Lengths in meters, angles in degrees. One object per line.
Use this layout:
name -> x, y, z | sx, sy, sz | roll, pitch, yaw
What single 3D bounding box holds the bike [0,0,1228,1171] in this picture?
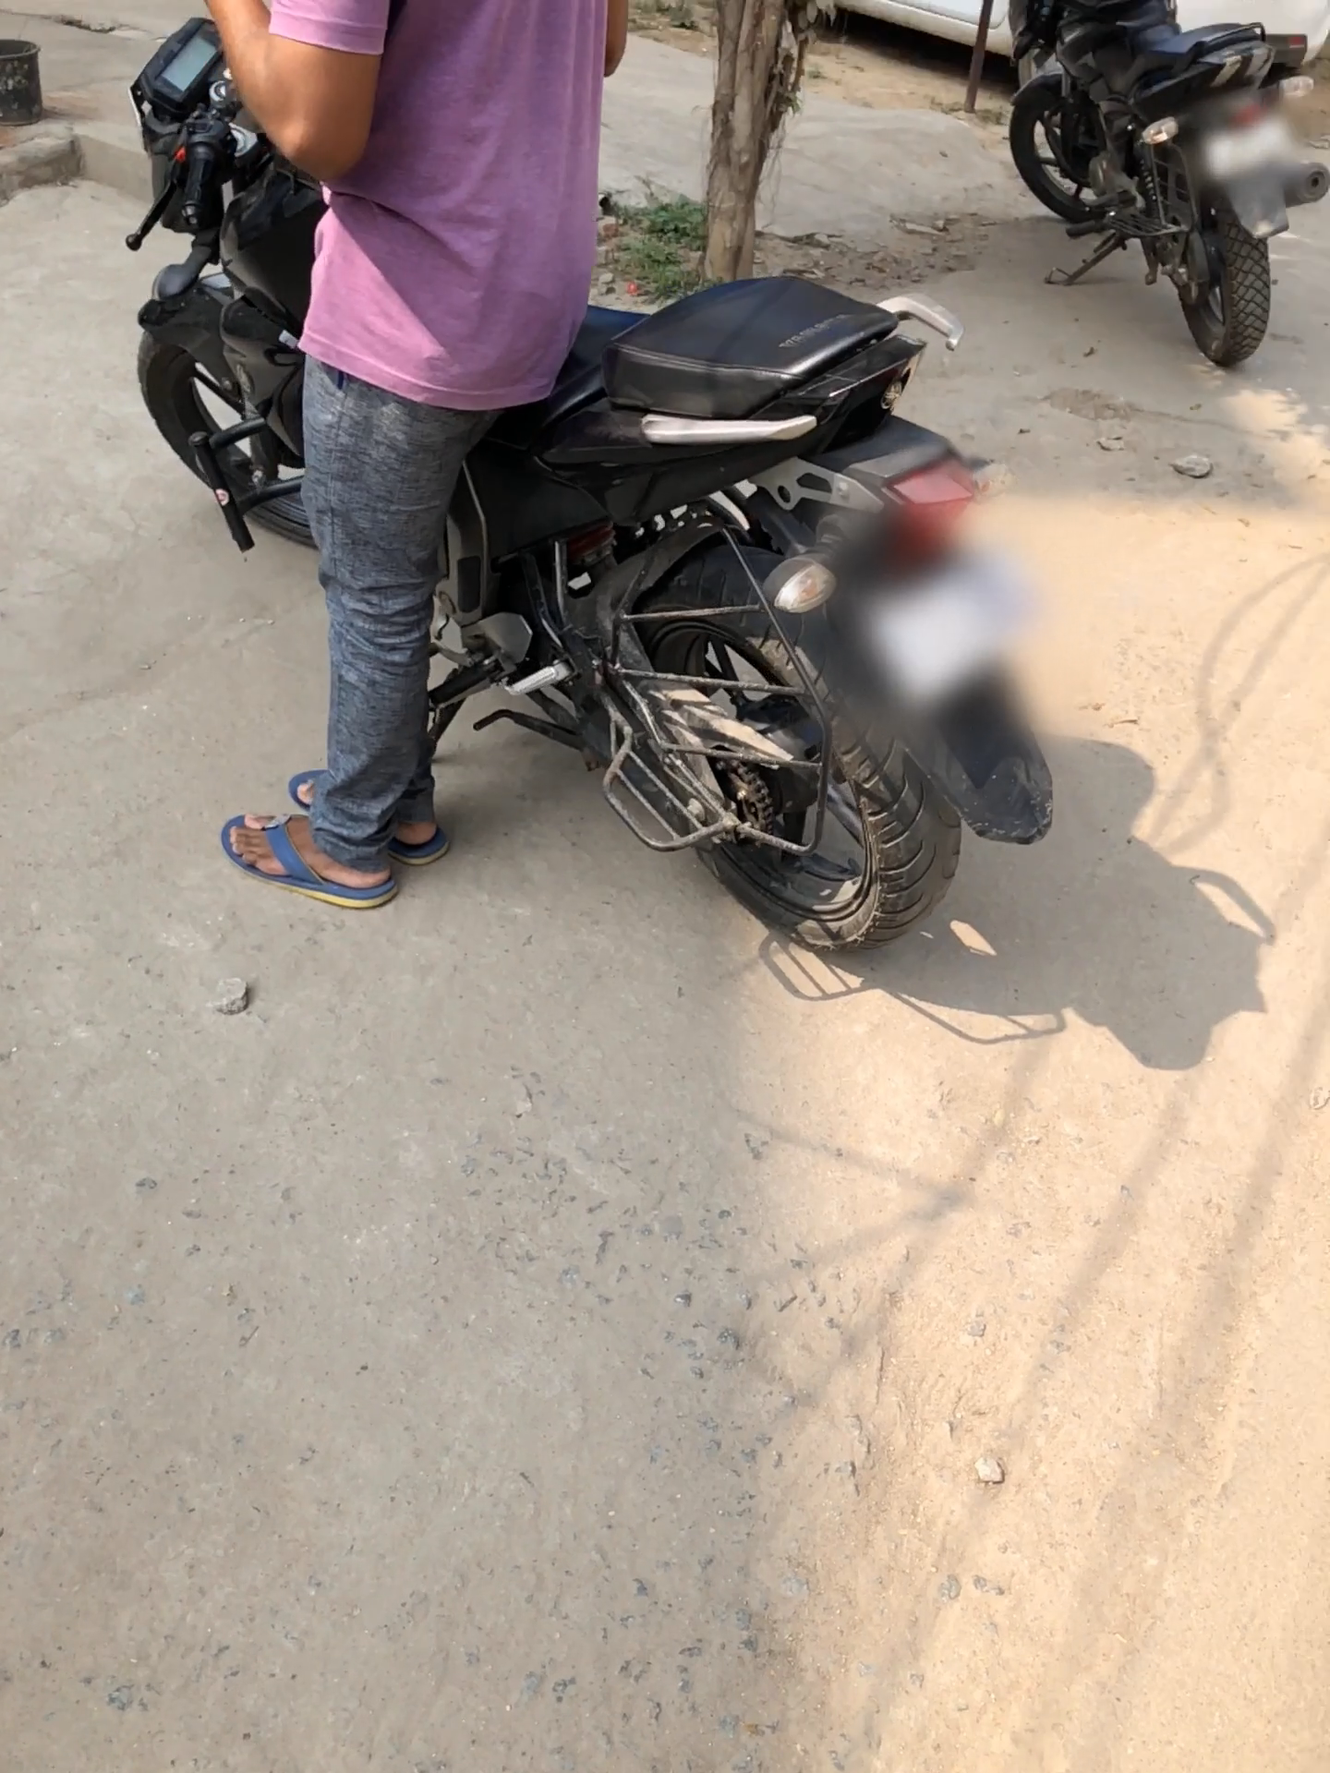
bike -> -0.399, -0.621, 1.842 | 1.688, 0.959, 0.687 | 35, 46, 28
